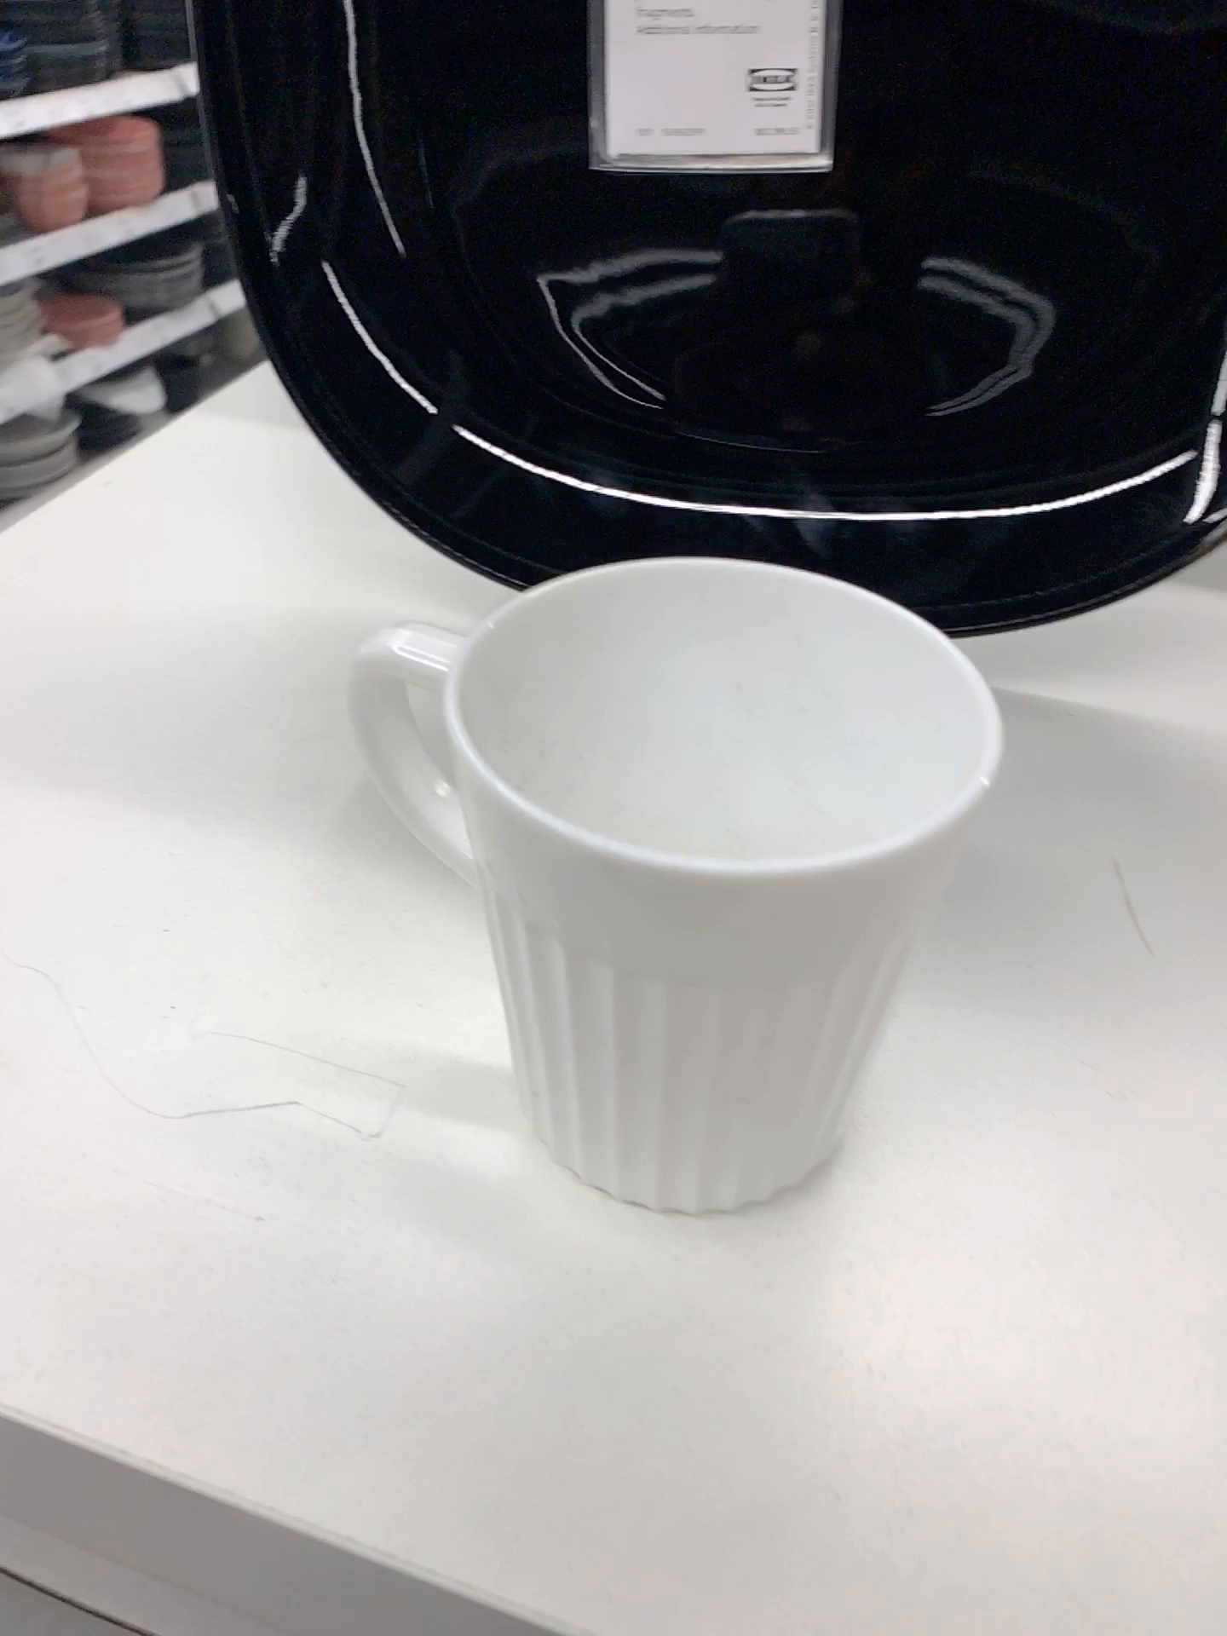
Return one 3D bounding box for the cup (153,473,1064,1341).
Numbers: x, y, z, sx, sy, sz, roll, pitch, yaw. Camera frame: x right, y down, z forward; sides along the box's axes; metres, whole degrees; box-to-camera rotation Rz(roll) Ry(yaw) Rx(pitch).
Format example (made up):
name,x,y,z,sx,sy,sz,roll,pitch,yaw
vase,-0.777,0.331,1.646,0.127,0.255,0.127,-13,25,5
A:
name,x,y,z,sx,sy,sz,roll,pitch,yaw
cup,0.003,0.007,0.215,0.110,0.080,0.090,17,40,17
